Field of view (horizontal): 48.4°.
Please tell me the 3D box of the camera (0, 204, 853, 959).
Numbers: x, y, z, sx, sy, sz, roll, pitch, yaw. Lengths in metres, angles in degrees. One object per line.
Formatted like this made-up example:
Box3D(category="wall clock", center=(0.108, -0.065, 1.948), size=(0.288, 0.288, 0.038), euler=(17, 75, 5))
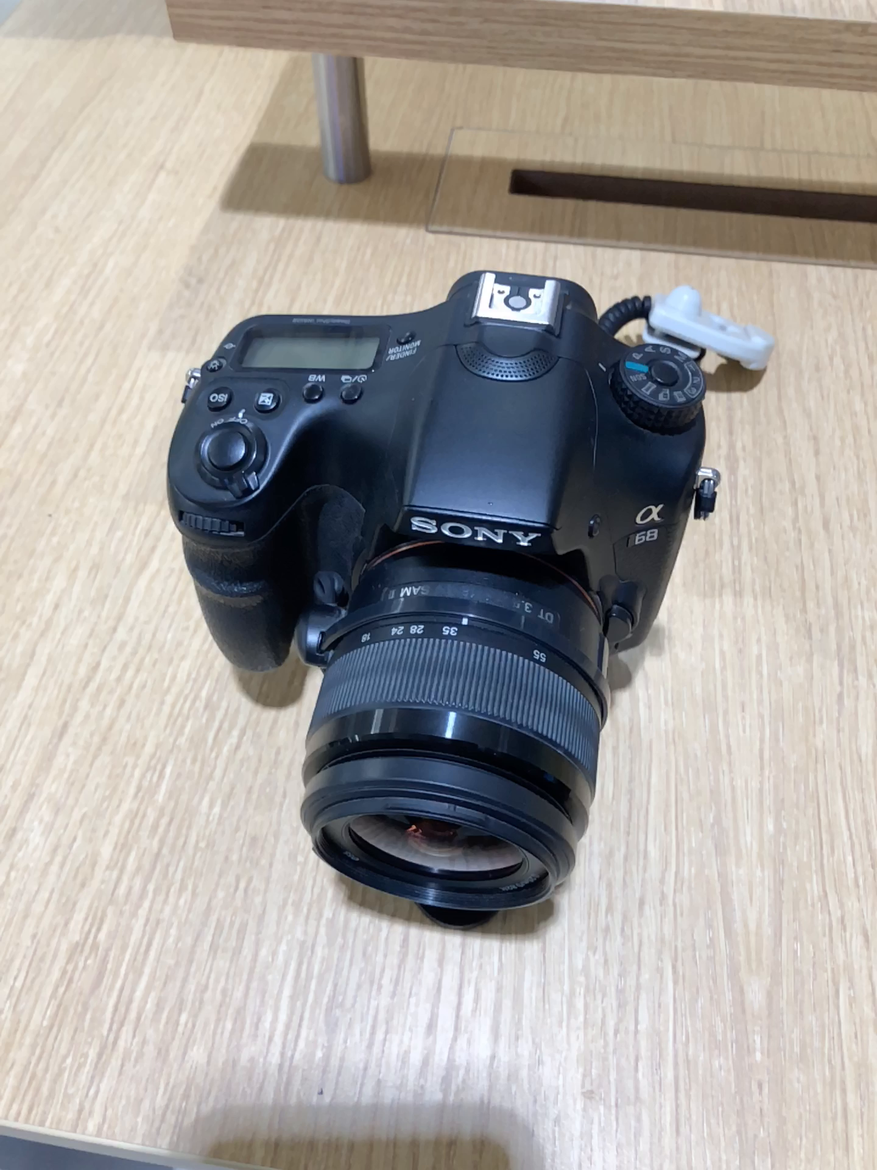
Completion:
Box3D(category="camera", center=(-0.001, -0.006, 0.215), size=(0.140, 0.080, 0.131), euler=(6, 54, 6))
